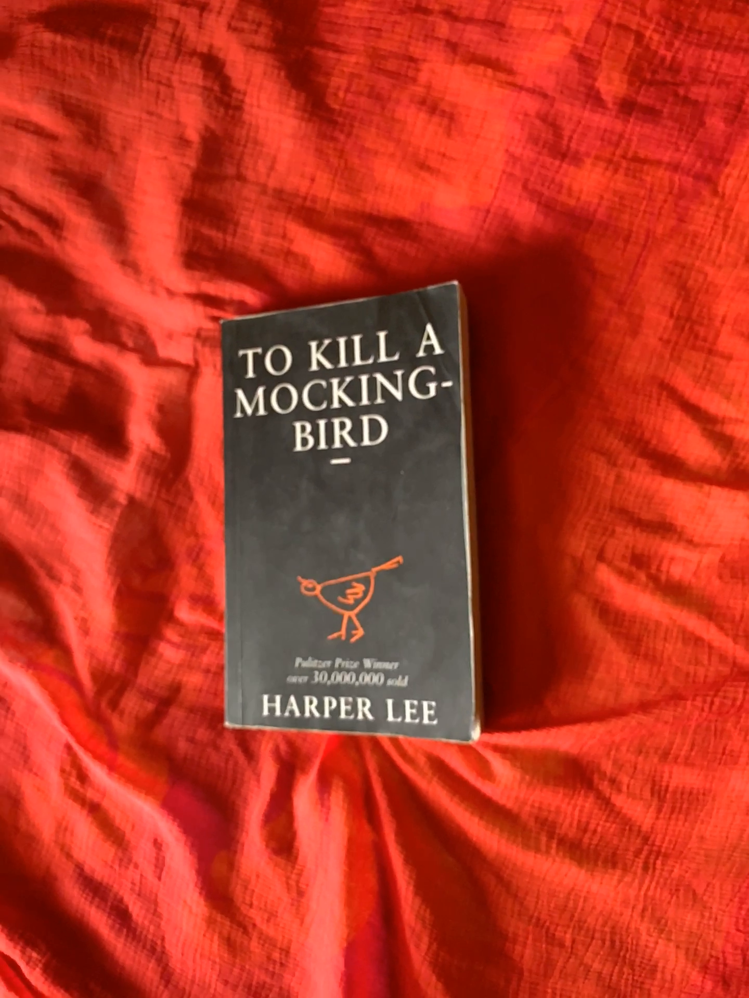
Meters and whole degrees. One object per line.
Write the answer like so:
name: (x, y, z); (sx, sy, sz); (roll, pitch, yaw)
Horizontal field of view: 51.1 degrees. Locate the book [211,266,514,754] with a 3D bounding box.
book: (-0.006, 0.007, 0.324); (0.110, 0.040, 0.180); (-4, 86, 18)
